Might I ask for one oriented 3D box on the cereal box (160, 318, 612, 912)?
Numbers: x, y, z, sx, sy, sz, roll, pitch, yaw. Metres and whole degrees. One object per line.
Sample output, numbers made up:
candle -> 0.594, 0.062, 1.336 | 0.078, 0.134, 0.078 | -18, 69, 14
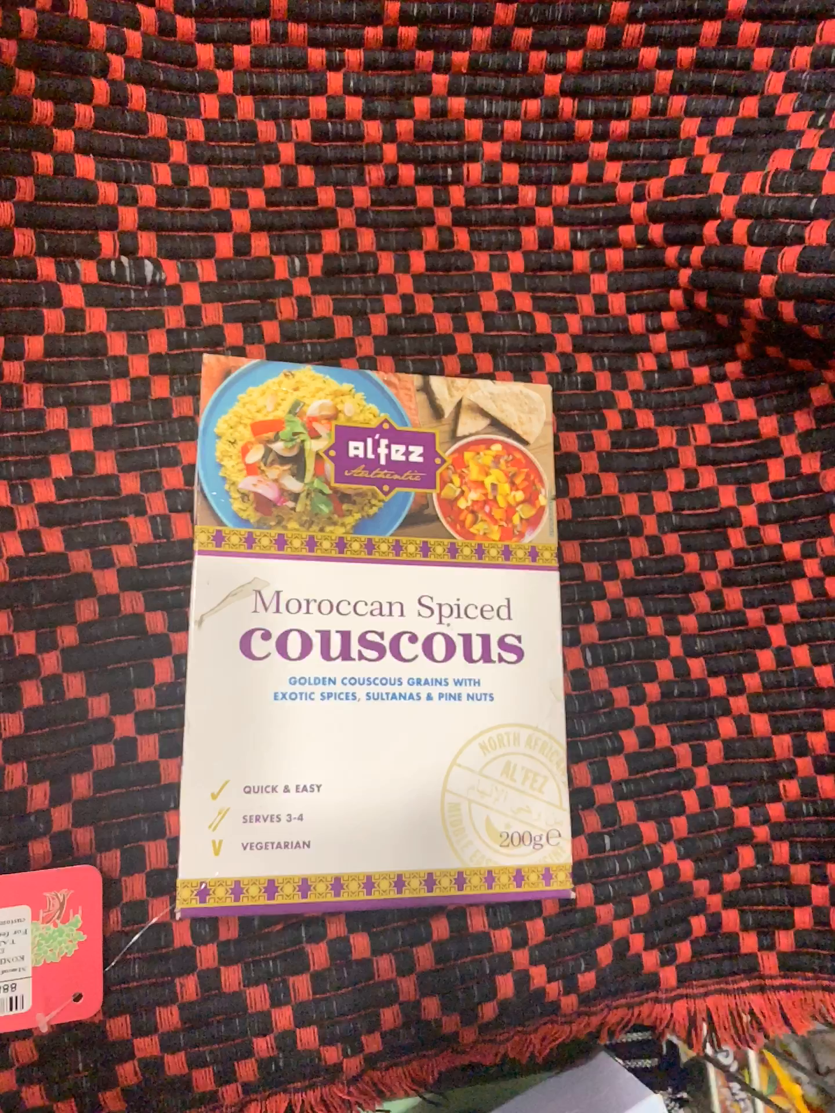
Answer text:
cereal box -> -0.011, 0.018, 0.268 | 0.120, 0.050, 0.160 | 3, 76, -13
